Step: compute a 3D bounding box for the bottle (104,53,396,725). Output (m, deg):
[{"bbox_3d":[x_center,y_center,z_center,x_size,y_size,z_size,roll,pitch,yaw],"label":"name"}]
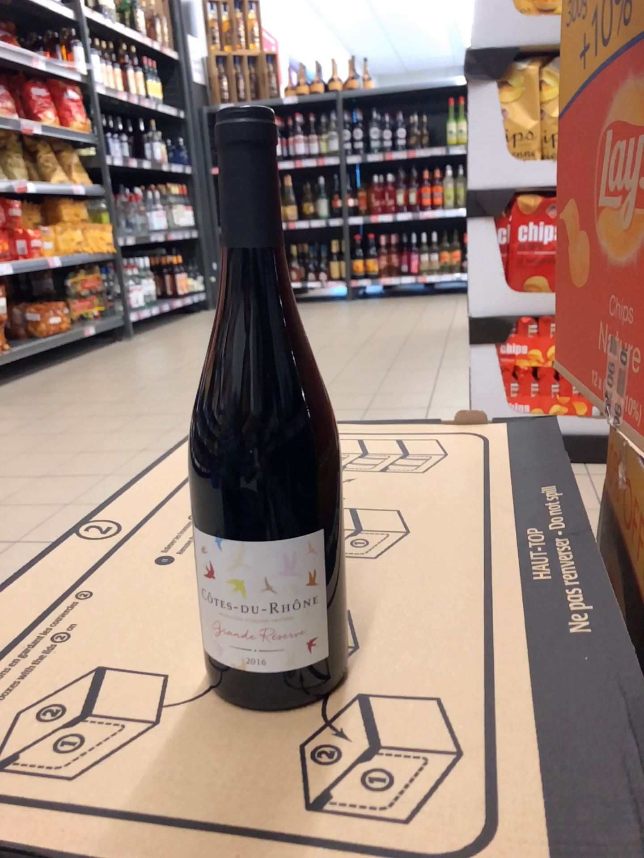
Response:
[{"bbox_3d":[-0.022,-0.011,0.352,0.100,0.289,0.090,-2,13,9],"label":"bottle"}]
